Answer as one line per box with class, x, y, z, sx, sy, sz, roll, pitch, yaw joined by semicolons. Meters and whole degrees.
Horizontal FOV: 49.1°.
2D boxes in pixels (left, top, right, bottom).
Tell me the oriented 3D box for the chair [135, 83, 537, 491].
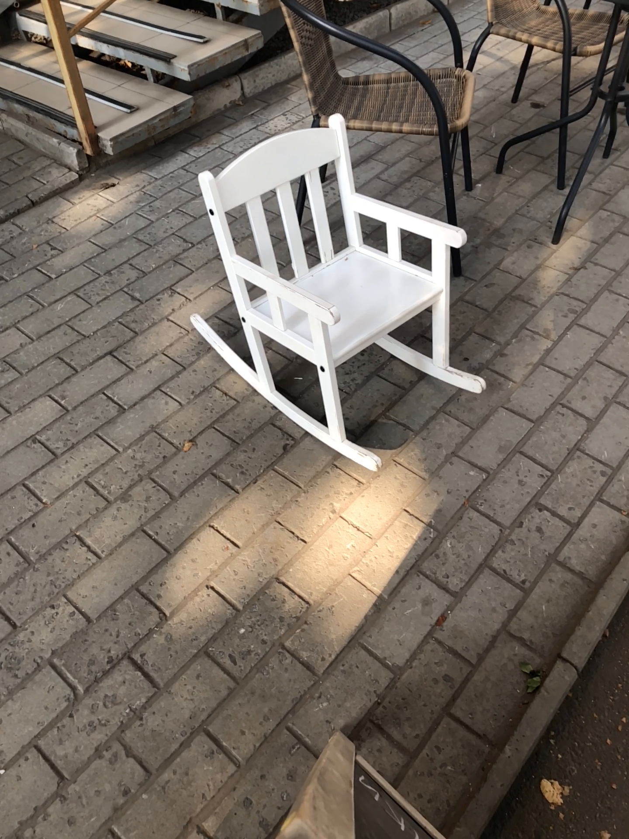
chair;0.020;-0.318;1.515;0.381;0.518;0.731;-34;53;-25
